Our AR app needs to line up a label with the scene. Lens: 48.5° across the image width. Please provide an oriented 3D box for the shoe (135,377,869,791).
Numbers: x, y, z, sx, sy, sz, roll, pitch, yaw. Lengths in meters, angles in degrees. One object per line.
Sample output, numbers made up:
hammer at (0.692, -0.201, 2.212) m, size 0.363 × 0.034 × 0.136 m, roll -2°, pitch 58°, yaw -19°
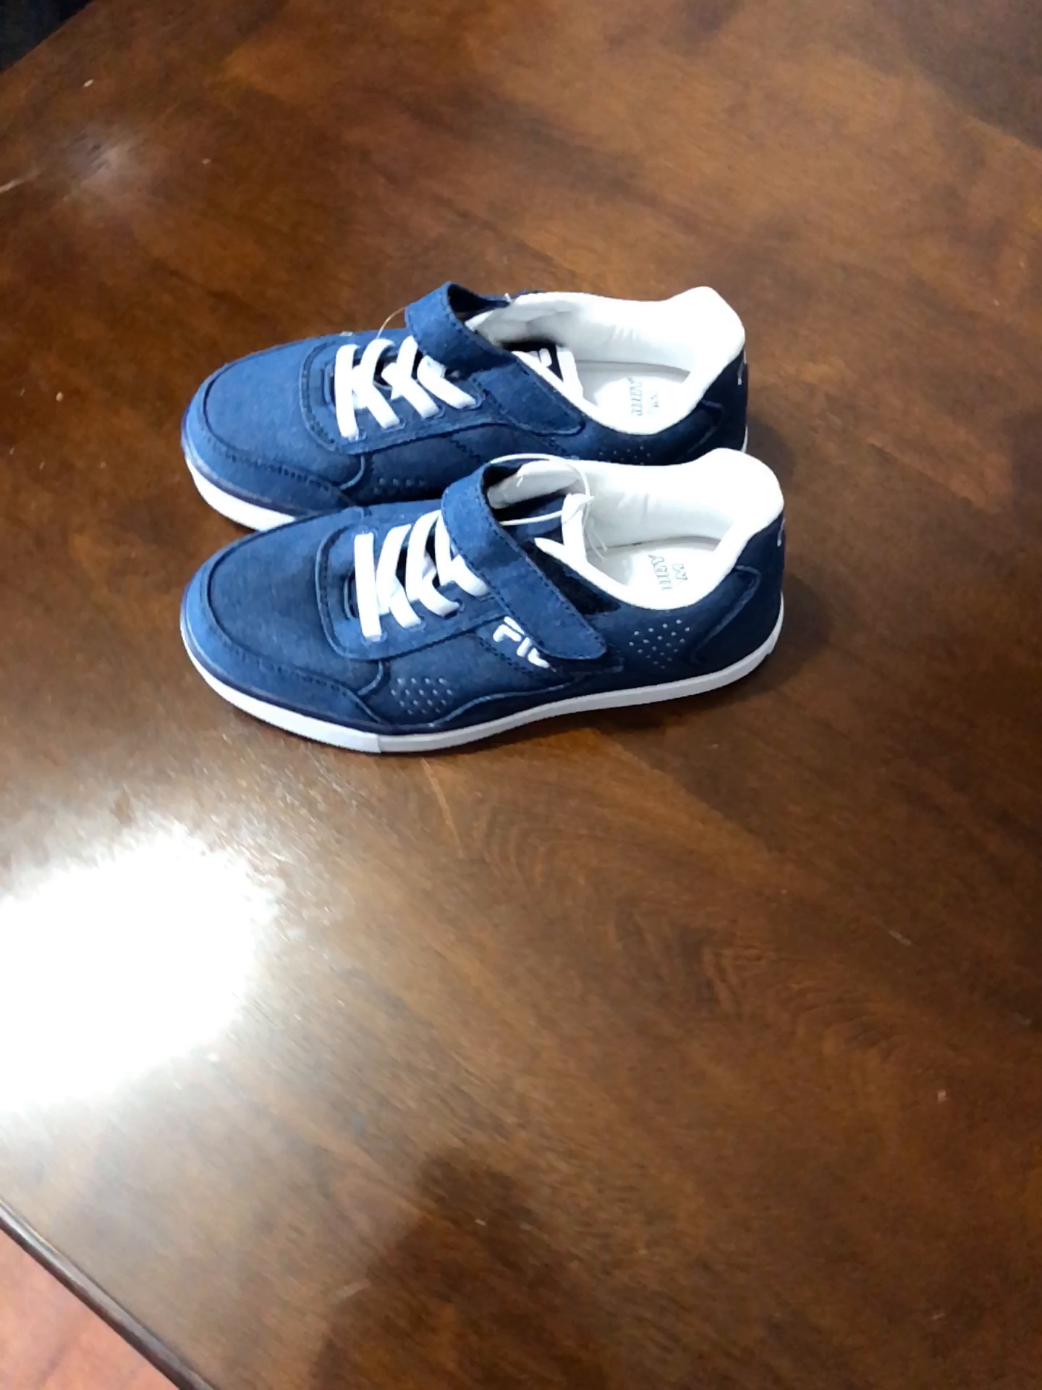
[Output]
shoe at (-0.011, -0.040, 0.433) m, size 0.240 × 0.080 × 0.100 m, roll -7°, pitch 68°, yaw -4°

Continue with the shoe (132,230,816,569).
shoe at (-0.019, -0.115, 0.460) m, size 0.240 × 0.080 × 0.090 m, roll -3°, pitch 67°, yaw -2°
